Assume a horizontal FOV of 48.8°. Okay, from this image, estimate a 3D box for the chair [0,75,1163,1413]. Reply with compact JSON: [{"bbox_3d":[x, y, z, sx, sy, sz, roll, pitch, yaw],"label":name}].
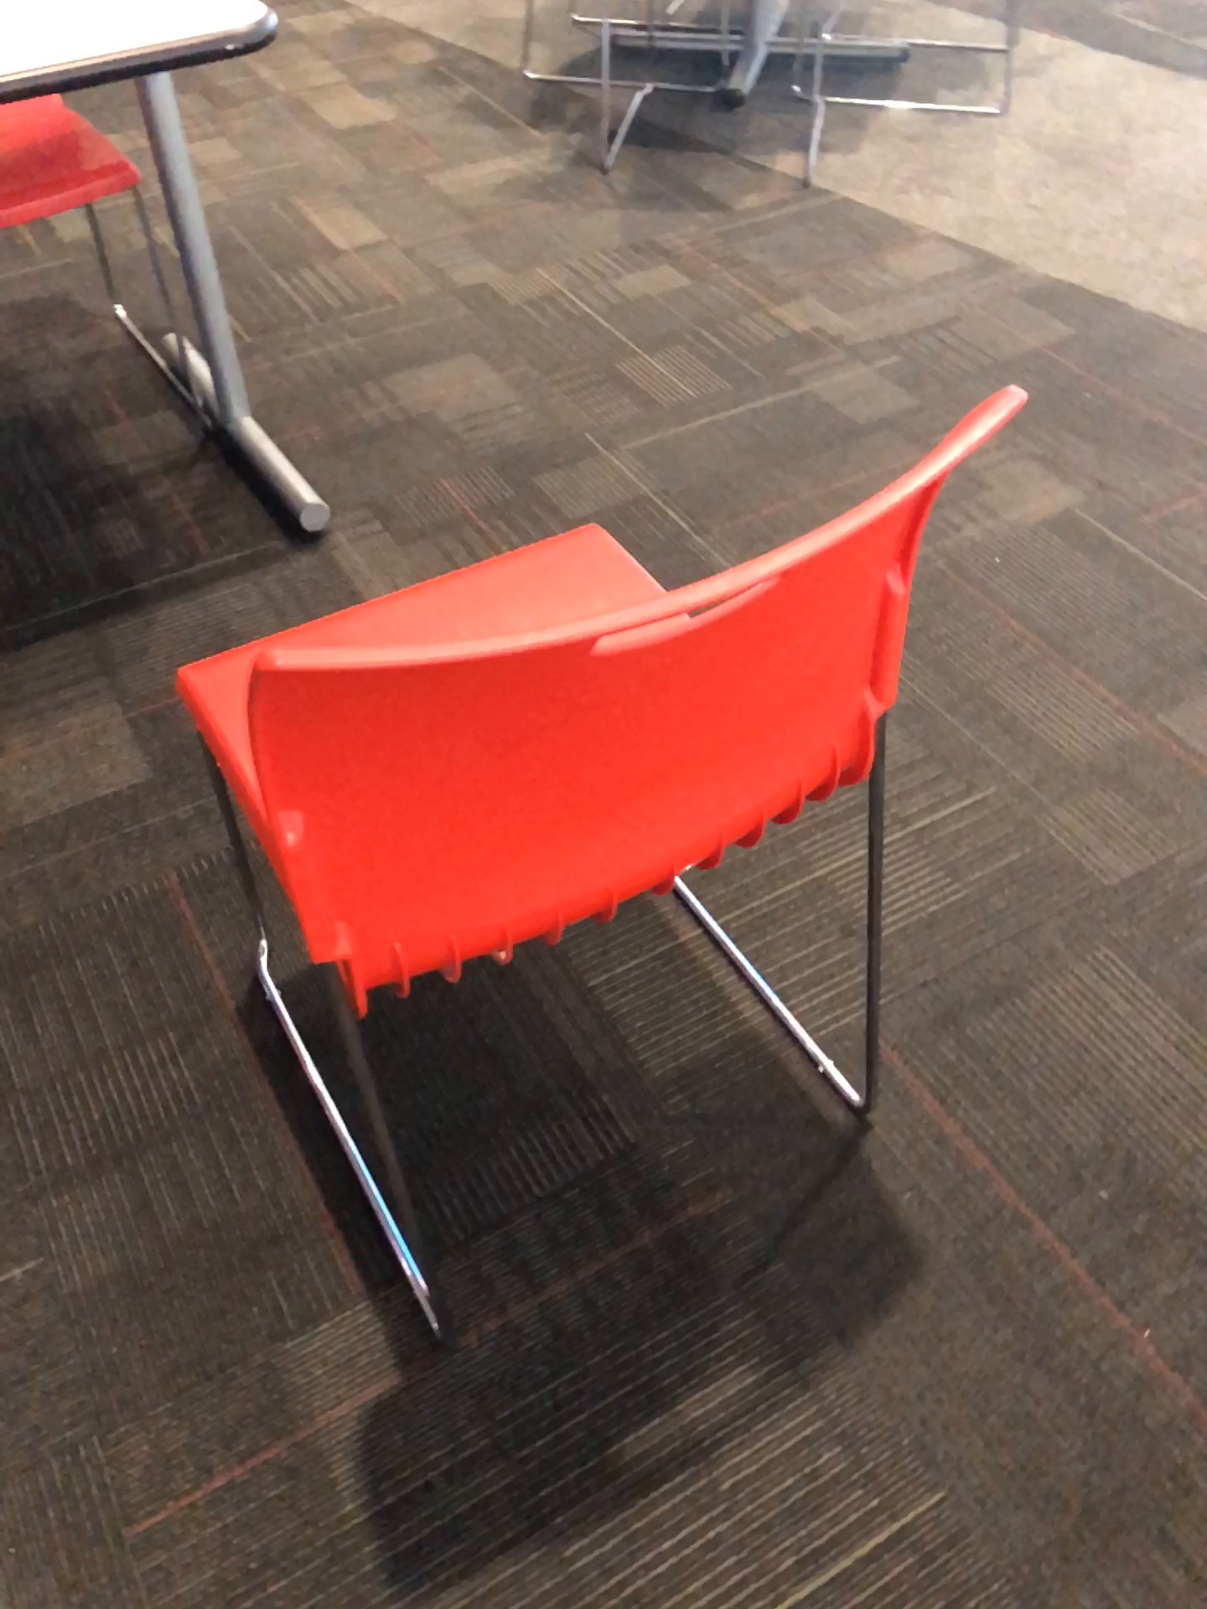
[{"bbox_3d":[-0.075,-0.055,1.110,0.560,0.767,0.612,-23,49,-20],"label":"chair"}]
